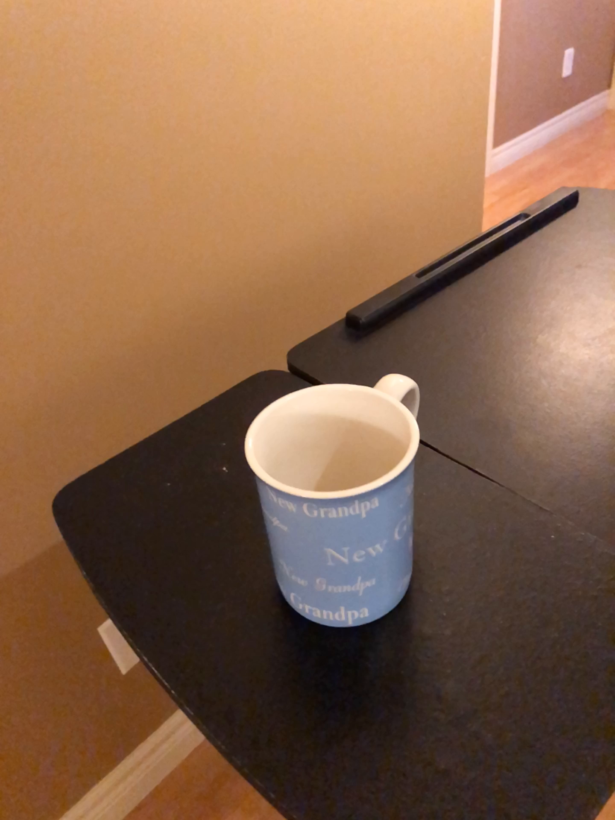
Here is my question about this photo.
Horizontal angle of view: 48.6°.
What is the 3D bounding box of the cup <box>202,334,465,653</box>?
[{"bbox_3d":[0.025,0.042,0.404,0.100,0.109,0.131,11,41,24],"label":"cup"}]
